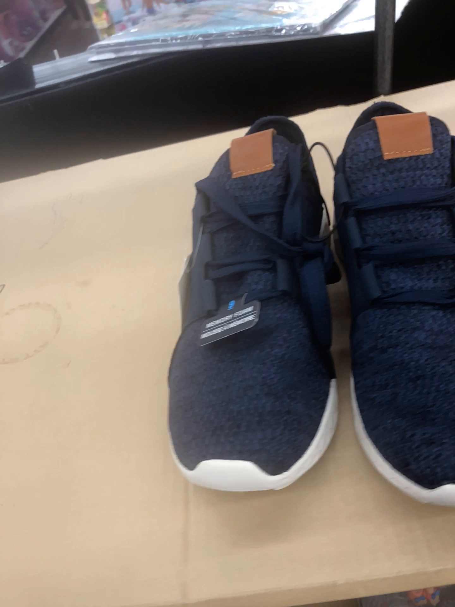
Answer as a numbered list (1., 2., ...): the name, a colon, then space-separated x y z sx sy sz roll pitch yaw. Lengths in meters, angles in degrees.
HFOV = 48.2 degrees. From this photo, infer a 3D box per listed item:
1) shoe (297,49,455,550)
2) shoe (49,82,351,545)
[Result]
1. shoe: 0.114 -0.034 0.298 0.110 0.120 0.291 -8 40 9
2. shoe: 0.016 -0.020 0.335 0.110 0.129 0.291 -3 41 14
